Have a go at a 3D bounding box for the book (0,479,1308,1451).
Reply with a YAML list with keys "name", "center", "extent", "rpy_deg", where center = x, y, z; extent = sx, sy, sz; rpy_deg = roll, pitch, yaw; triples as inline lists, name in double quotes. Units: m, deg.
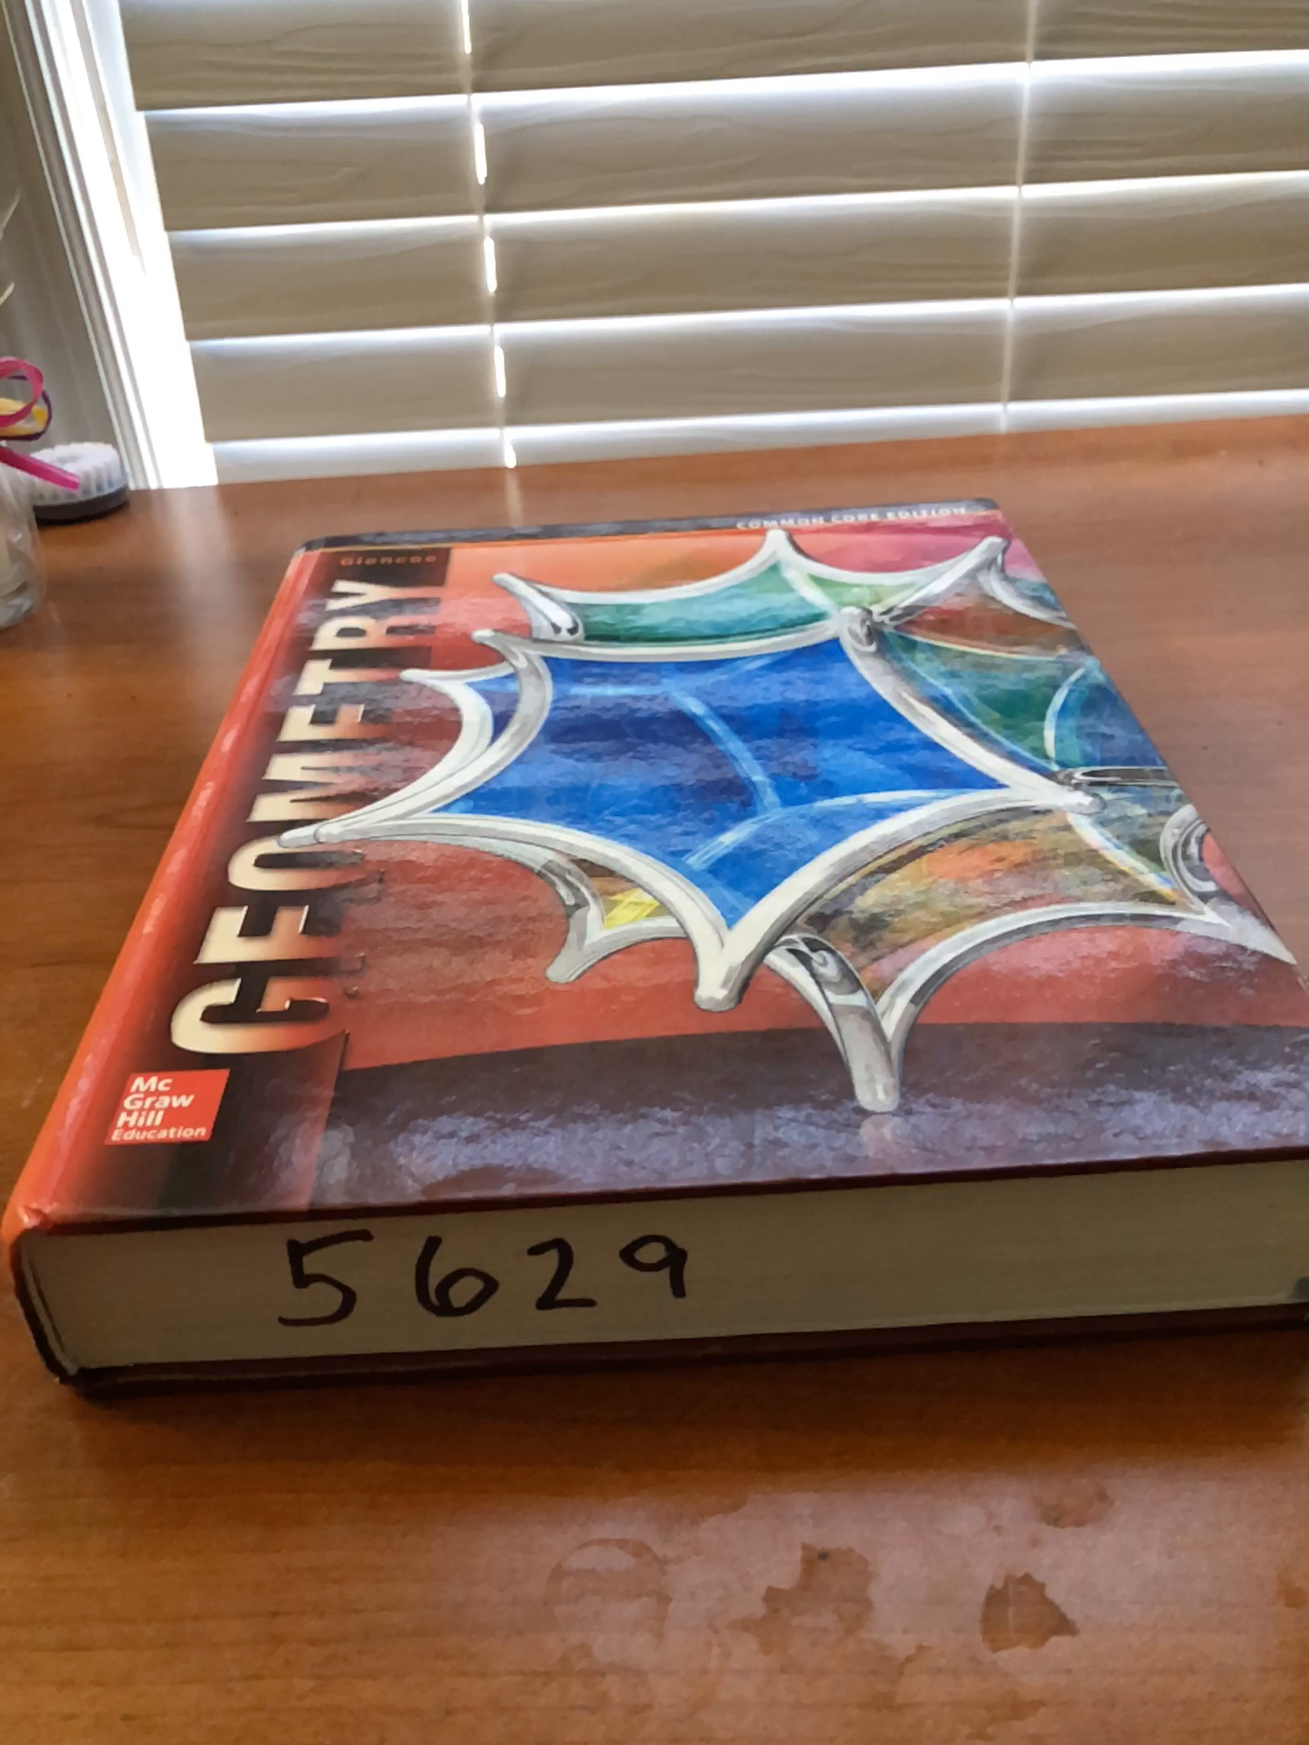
- name: "book"
  center: [0.004, -0.016, 0.360]
  extent: [0.229, 0.050, 0.312]
  rpy_deg: [-3, 34, 0]
